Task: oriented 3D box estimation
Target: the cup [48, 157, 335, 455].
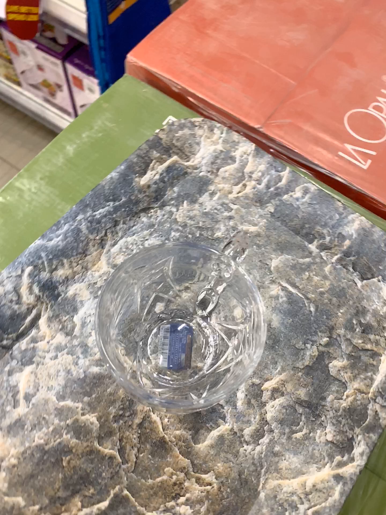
[{"bbox_3d":[0.002,0.025,0.195,0.080,0.070,0.100,27,66,7],"label":"cup"}]
